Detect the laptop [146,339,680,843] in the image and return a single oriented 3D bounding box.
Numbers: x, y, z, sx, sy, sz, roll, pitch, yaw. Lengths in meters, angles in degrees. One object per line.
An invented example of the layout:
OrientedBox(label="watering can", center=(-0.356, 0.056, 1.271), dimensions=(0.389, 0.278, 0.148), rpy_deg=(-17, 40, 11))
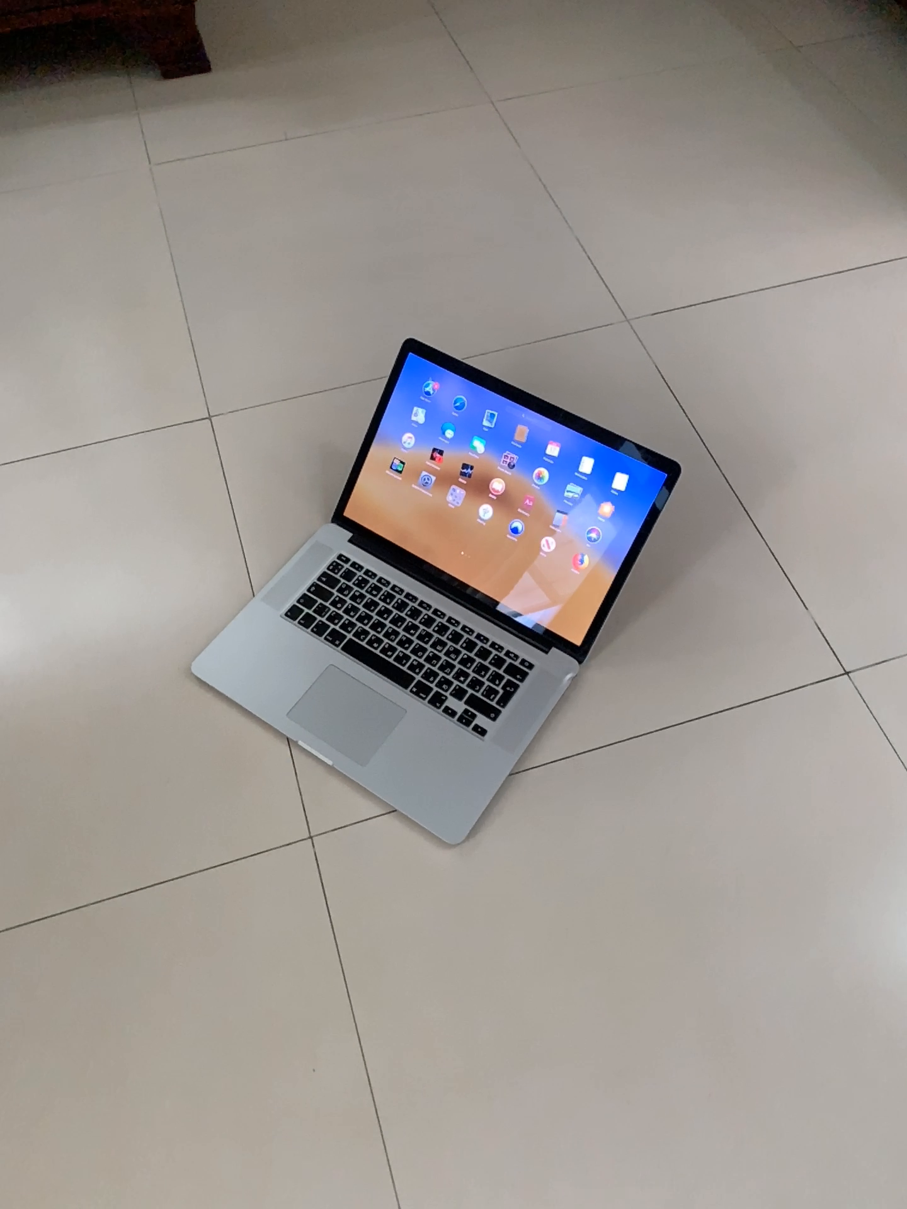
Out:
OrientedBox(label="laptop", center=(-0.027, -0.036, 0.987), dimensions=(0.352, 0.162, 0.416), rpy_deg=(29, 61, 17))
